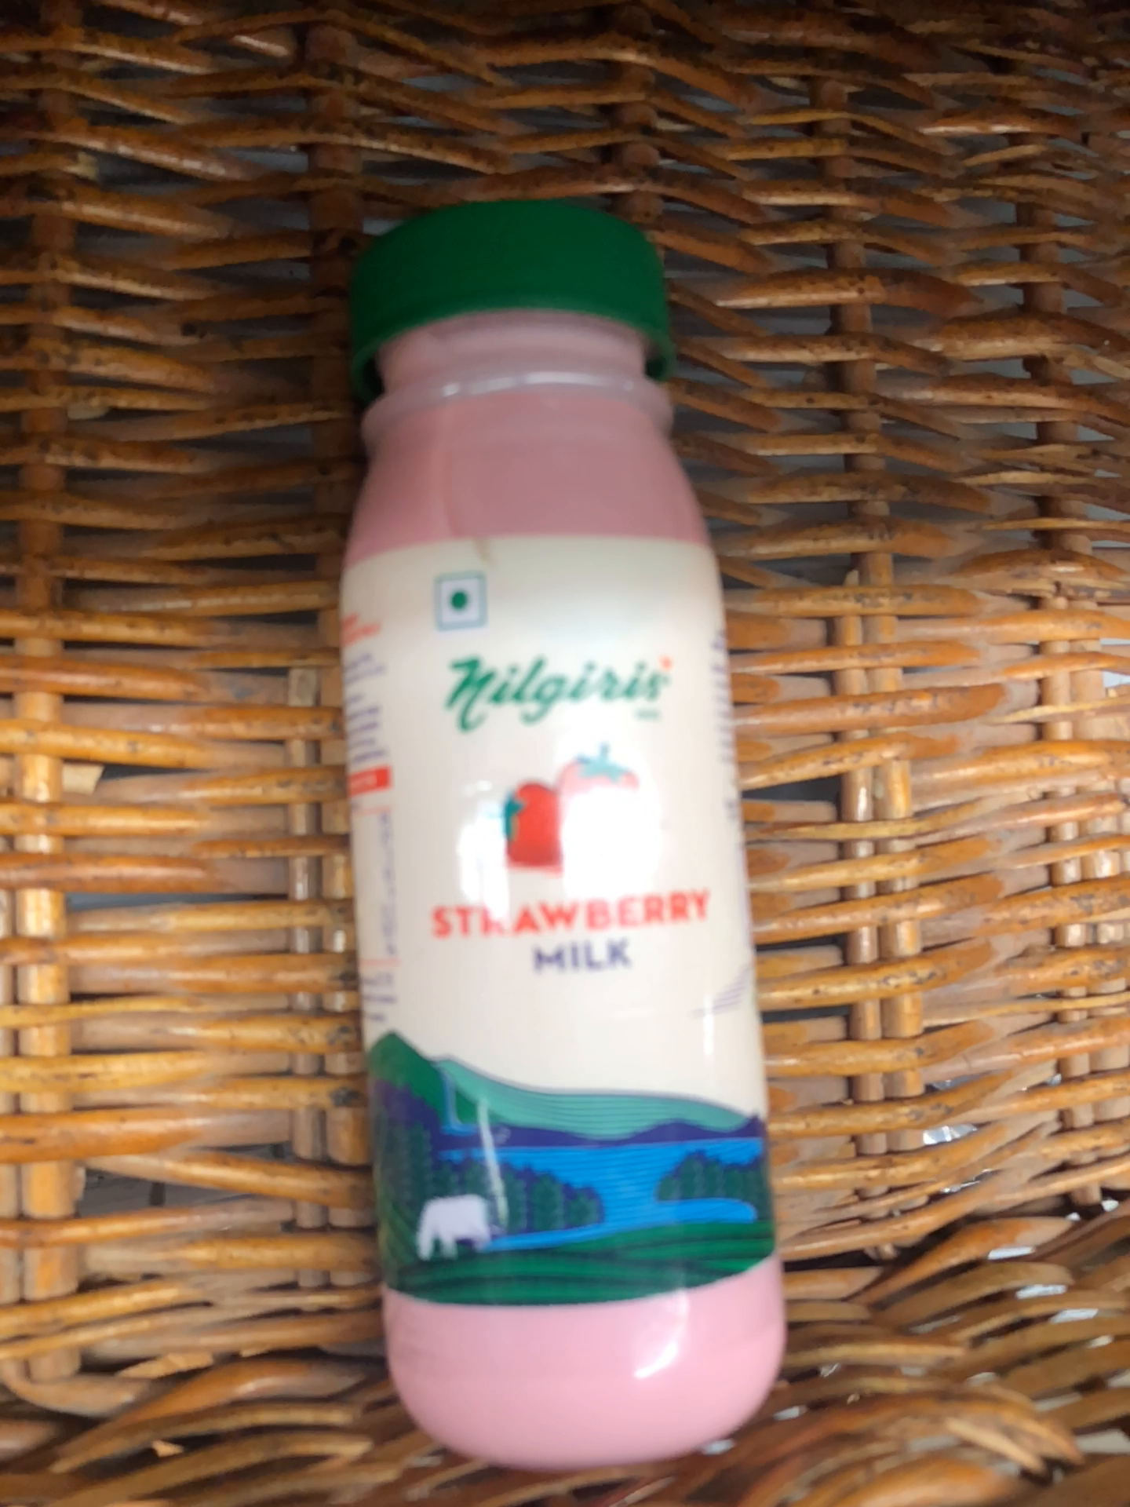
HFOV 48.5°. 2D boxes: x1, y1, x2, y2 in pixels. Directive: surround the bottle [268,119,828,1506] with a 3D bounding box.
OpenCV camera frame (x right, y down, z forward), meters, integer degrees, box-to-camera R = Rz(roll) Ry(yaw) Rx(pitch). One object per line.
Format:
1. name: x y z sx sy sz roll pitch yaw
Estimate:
1. bottle: -0.006 0.009 0.152 0.050 0.040 0.150 -3 87 -16
